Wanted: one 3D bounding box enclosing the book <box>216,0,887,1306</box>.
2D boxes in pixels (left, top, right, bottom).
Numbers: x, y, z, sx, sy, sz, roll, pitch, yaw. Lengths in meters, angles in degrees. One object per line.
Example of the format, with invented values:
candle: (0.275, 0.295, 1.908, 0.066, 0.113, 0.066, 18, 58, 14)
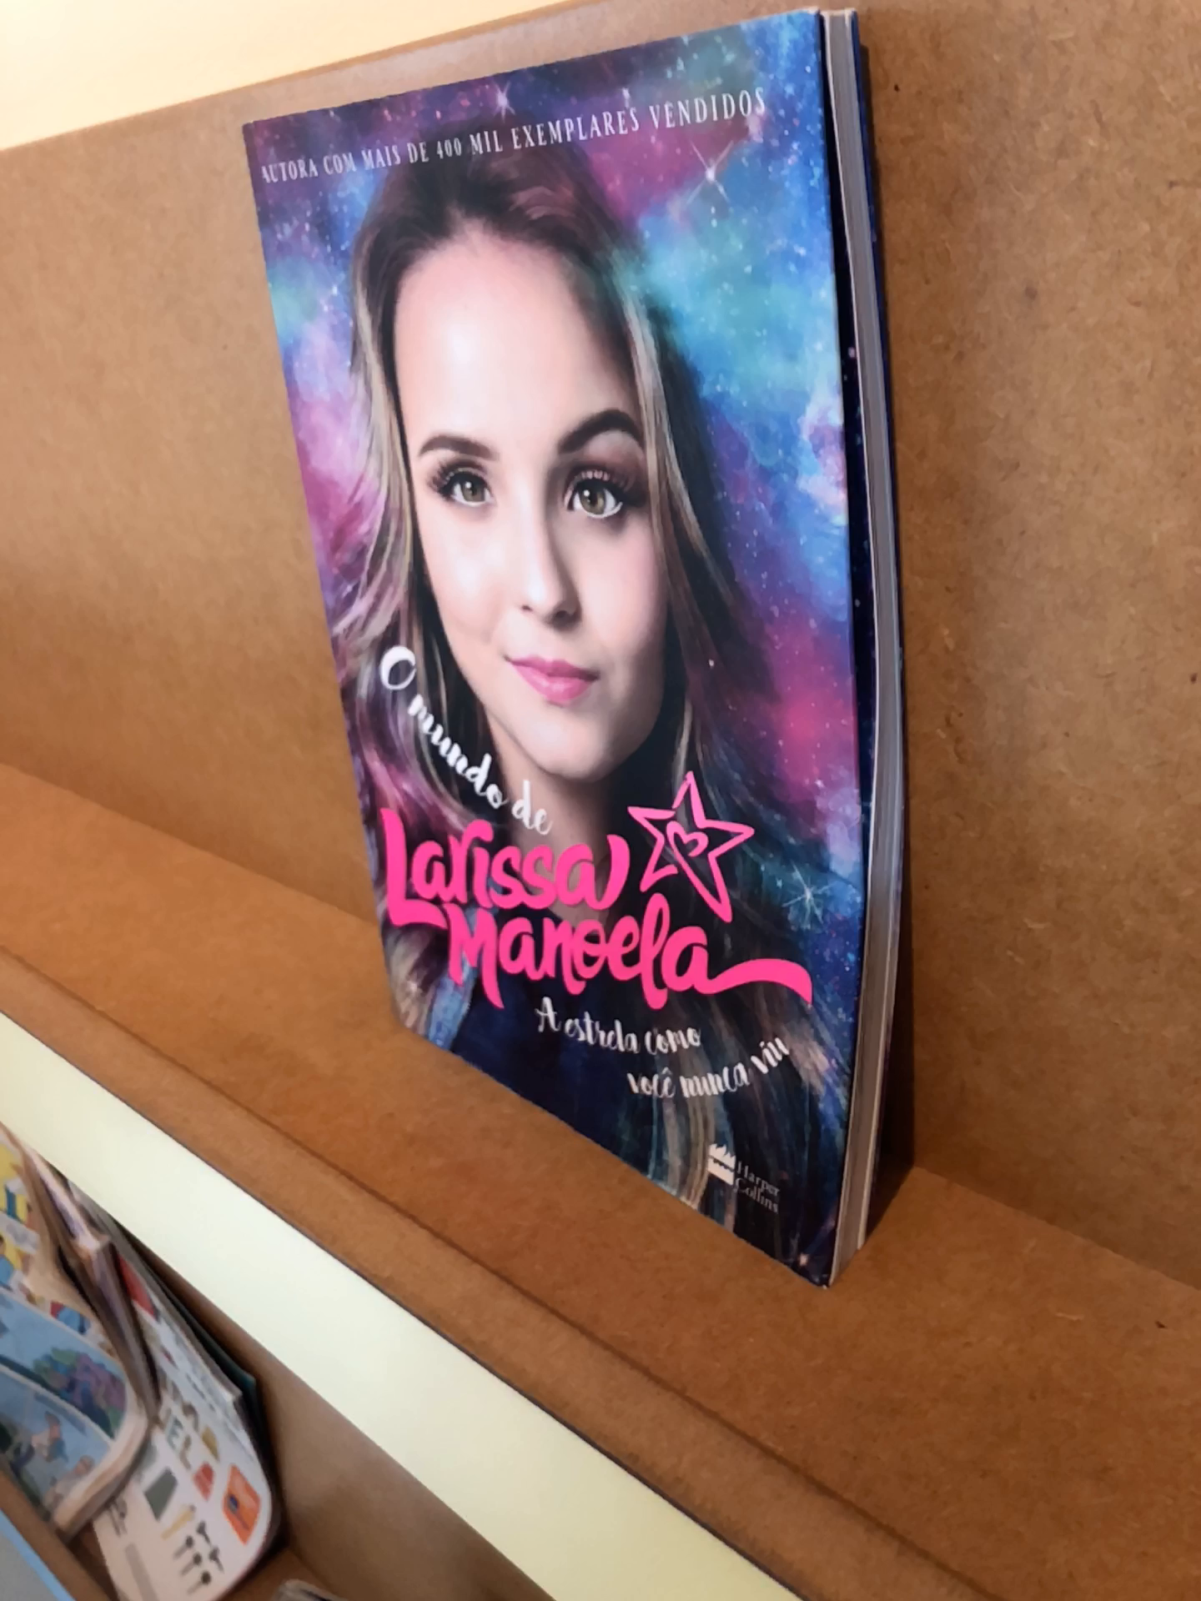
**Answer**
book: (-0.011, -0.024, 0.277, 0.020, 0.221, 0.151, -24, 29, -37)
